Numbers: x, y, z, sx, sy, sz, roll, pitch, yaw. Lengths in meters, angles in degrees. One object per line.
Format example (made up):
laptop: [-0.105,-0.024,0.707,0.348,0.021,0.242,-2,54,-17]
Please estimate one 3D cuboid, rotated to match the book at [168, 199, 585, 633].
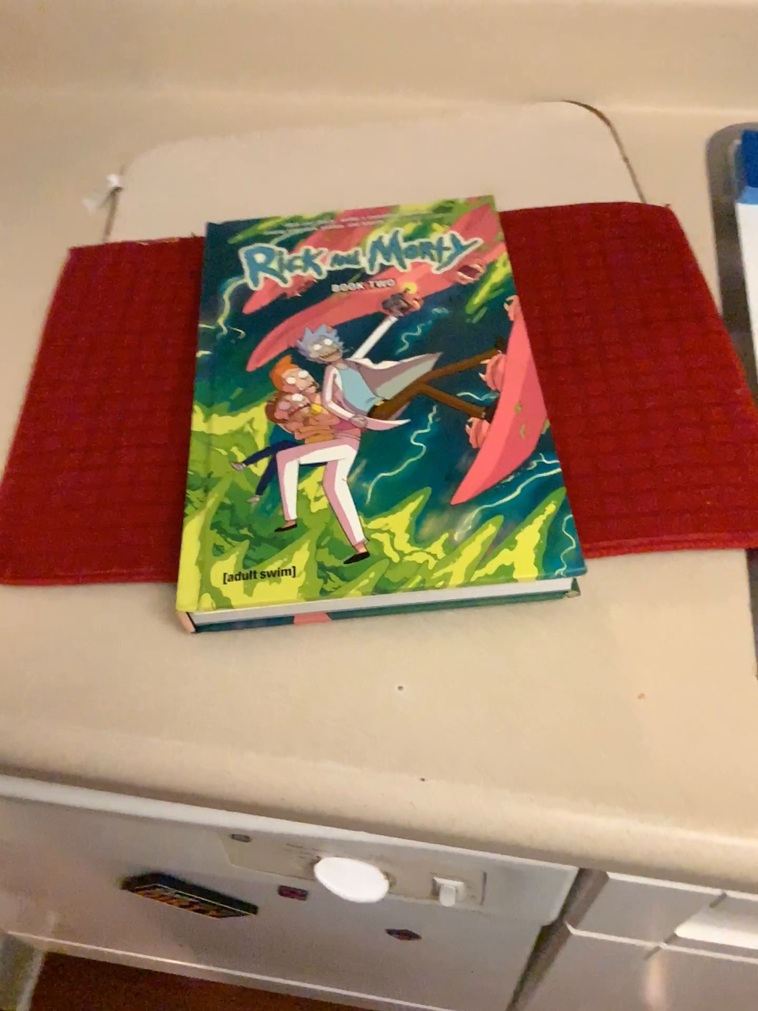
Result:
book: [-0.010,-0.073,0.505,0.200,0.030,0.300,-5,54,1]
